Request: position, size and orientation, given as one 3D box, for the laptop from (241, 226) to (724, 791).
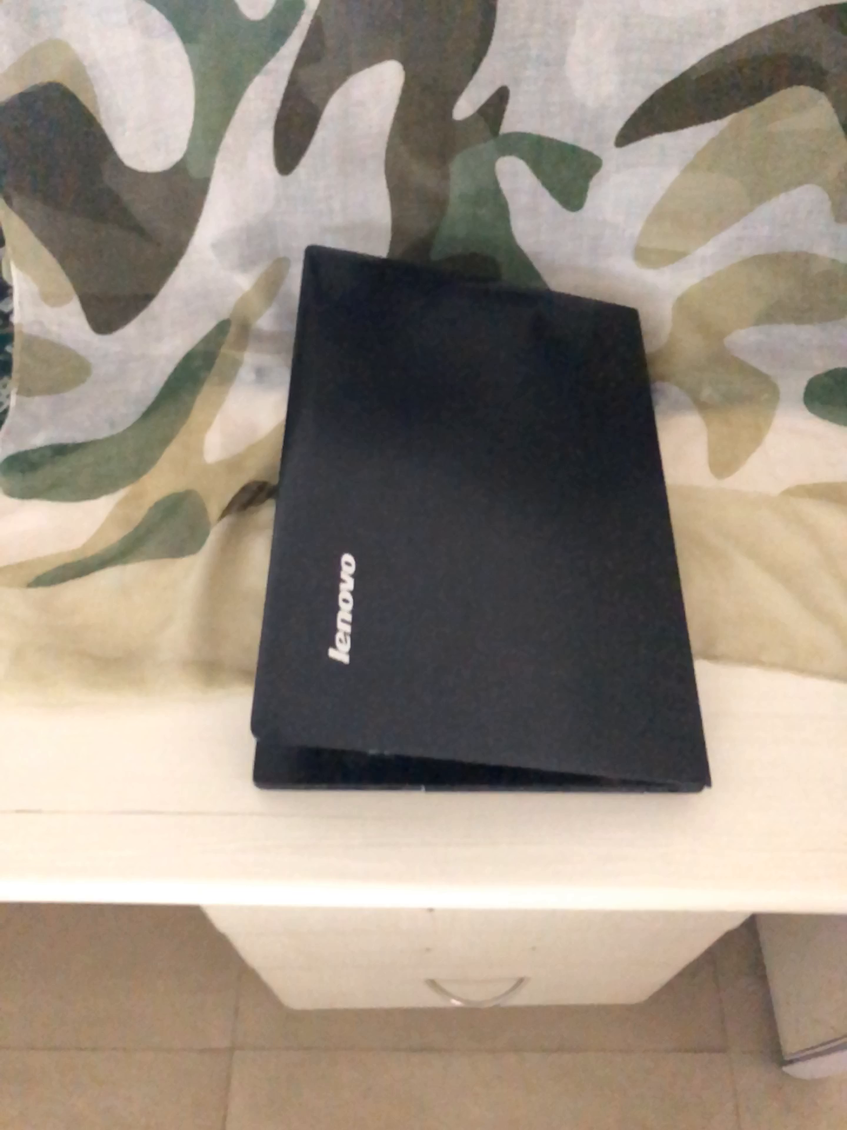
[{"bbox_3d":[0.037,-0.058,0.608,0.249,0.059,0.386,3,58,-2],"label":"laptop"}]
